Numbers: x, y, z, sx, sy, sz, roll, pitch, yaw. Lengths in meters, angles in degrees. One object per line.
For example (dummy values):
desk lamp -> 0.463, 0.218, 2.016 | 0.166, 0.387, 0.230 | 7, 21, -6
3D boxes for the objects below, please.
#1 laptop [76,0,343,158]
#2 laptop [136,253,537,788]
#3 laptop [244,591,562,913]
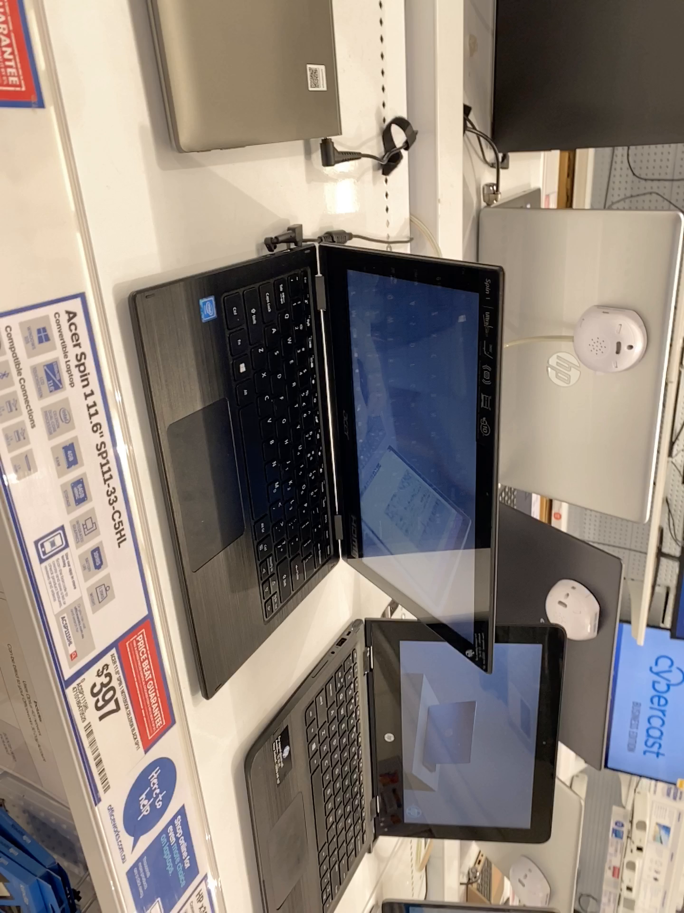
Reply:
laptop -> -0.058, -0.348, 0.434 | 0.195, 0.001, 0.285 | -37, 128, -52
laptop -> 0.016, 0.021, 0.490 | 0.197, 0.174, 0.290 | -37, 129, -53
laptop -> 0.089, 0.365, 0.723 | 0.298, 0.190, 0.324 | -38, 130, -53
